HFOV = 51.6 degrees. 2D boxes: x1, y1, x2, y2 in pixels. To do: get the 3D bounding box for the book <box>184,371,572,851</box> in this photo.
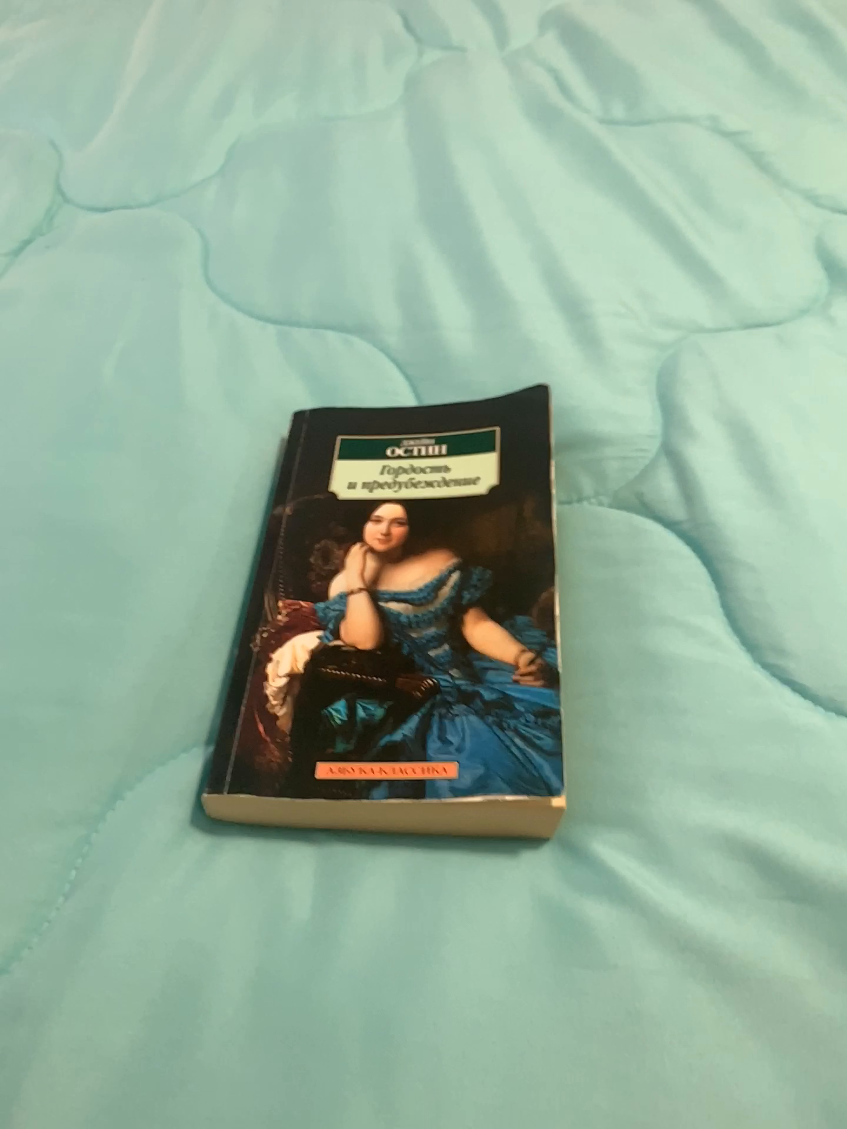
[{"bbox_3d":[-0.007,0.006,0.318,0.110,0.044,0.173,3,52,2],"label":"book"}]
